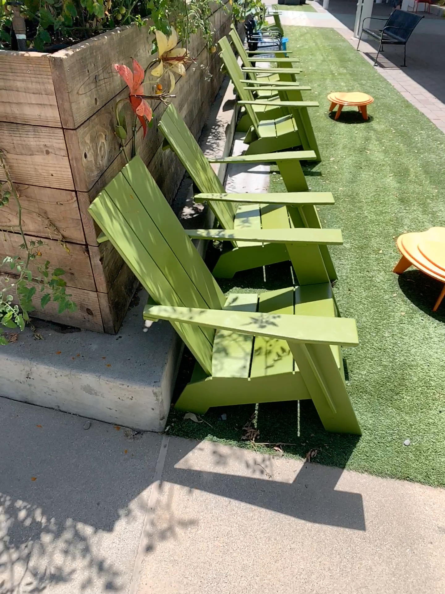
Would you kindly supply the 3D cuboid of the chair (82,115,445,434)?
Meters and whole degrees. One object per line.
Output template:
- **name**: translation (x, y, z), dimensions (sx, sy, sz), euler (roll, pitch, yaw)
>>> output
- **chair**: translation (0.167, -0.088, 1.604), dimensions (0.900, 0.835, 0.684), euler (0, 35, 9)

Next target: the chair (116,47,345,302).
- **chair**: translation (0.126, -0.619, 2.450), dimensions (0.890, 0.984, 0.684), euler (-7, 37, 16)
